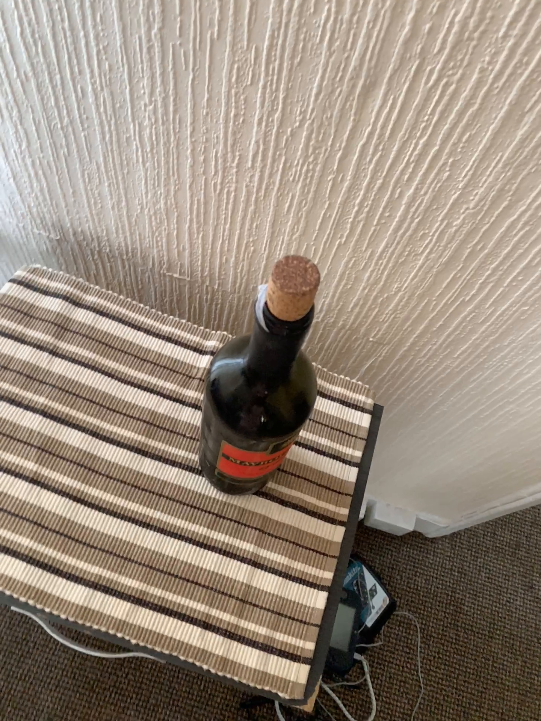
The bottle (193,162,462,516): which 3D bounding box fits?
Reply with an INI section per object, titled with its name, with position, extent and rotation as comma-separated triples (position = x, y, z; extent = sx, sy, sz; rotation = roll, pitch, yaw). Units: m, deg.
[bottle]
position = 0.005, 0.023, 0.379
extent = 0.080, 0.318, 0.080
rotation = 3, 65, -7
